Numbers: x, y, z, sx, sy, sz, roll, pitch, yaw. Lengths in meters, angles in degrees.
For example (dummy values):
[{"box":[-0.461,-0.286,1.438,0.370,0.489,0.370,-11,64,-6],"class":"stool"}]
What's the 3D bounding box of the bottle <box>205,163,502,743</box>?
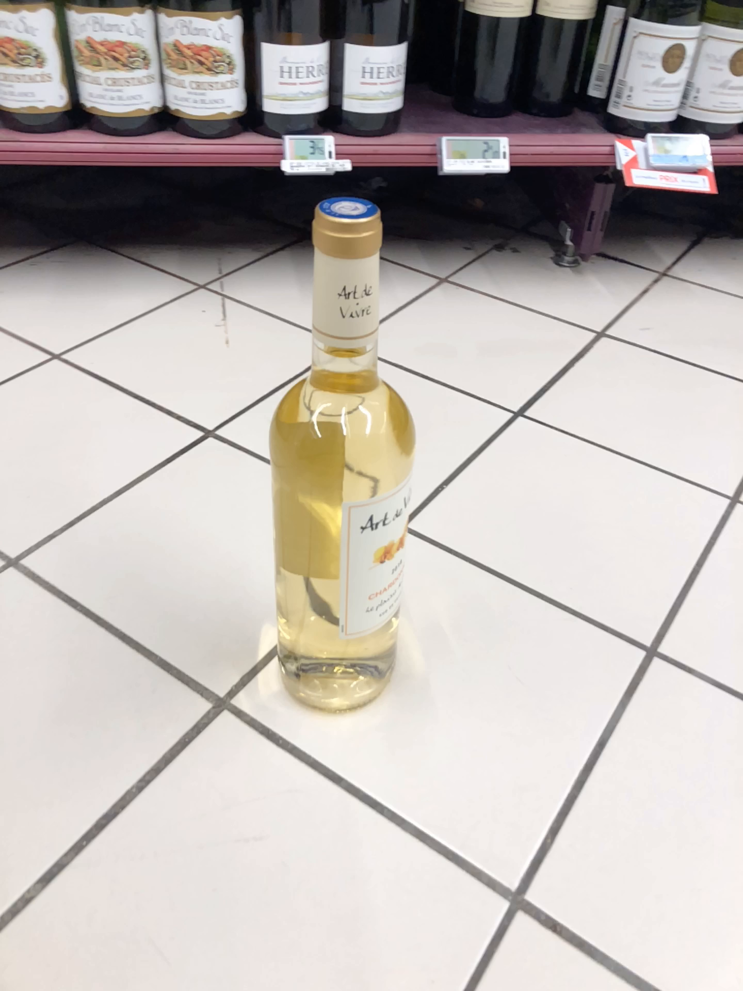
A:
[{"box":[-0.013,-0.007,0.431,0.090,0.288,0.091,3,39,-2],"class":"bottle"}]
